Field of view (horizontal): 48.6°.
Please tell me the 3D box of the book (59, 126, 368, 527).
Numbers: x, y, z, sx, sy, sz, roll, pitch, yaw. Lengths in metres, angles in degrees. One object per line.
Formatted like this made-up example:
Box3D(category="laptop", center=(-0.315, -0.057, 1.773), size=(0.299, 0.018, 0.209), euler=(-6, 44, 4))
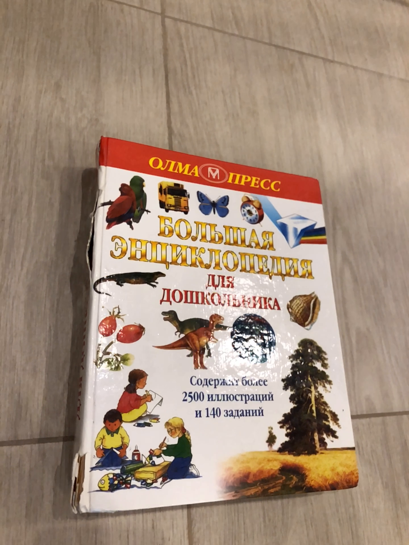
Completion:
Box3D(category="book", center=(0.007, 0.036, 0.374), size=(0.216, 0.060, 0.281), euler=(7, 68, -21))
